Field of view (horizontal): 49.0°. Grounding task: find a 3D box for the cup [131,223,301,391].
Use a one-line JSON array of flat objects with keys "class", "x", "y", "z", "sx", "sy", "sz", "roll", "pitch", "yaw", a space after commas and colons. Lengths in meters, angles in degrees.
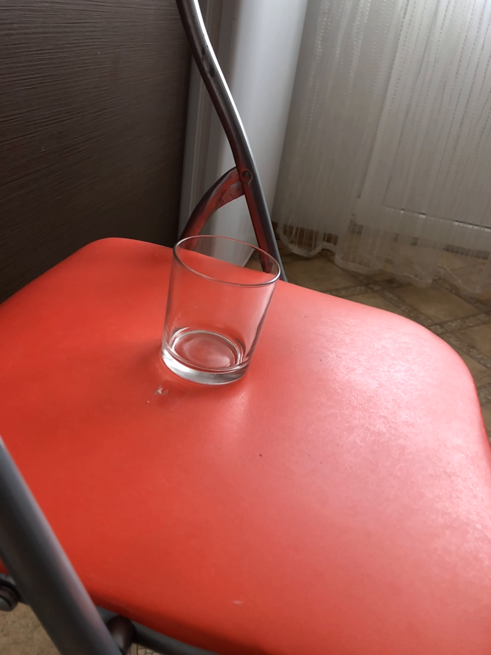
[{"class": "cup", "x": -0.025, "y": -0.019, "z": 0.373, "sx": 0.080, "sy": 0.082, "sz": 0.078, "roll": 10, "pitch": 30, "yaw": -6}]
